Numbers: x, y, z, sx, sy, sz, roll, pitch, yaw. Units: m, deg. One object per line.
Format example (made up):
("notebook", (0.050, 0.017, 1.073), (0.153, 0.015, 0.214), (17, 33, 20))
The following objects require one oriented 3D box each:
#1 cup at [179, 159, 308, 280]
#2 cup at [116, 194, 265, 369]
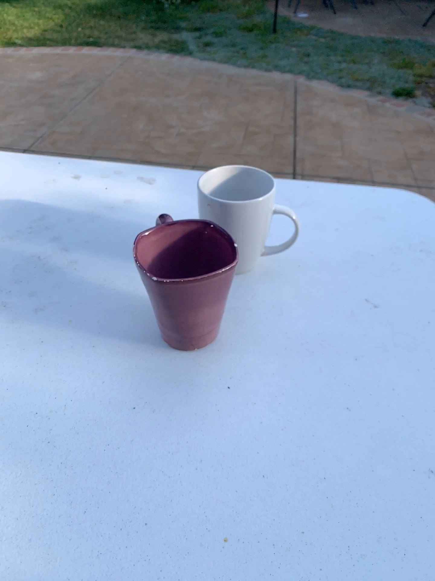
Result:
("cup", (0.032, -0.085, 0.520), (0.120, 0.080, 0.100), (12, 42, 13))
("cup", (-0.030, -0.014, 0.436), (0.100, 0.089, 0.131), (-13, 43, -16))
